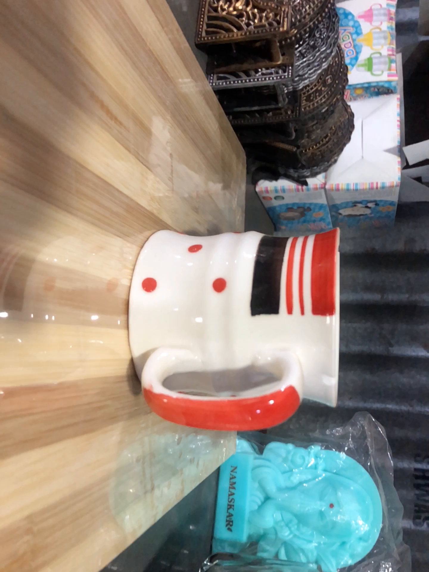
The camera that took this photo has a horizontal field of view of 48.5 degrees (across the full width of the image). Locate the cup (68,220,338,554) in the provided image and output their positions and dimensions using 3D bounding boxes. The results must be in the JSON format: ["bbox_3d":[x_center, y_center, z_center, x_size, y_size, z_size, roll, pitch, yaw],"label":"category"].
[{"bbox_3d":[0.011,0.040,0.227,0.110,0.090,0.100,1,90,-75],"label":"cup"}]
